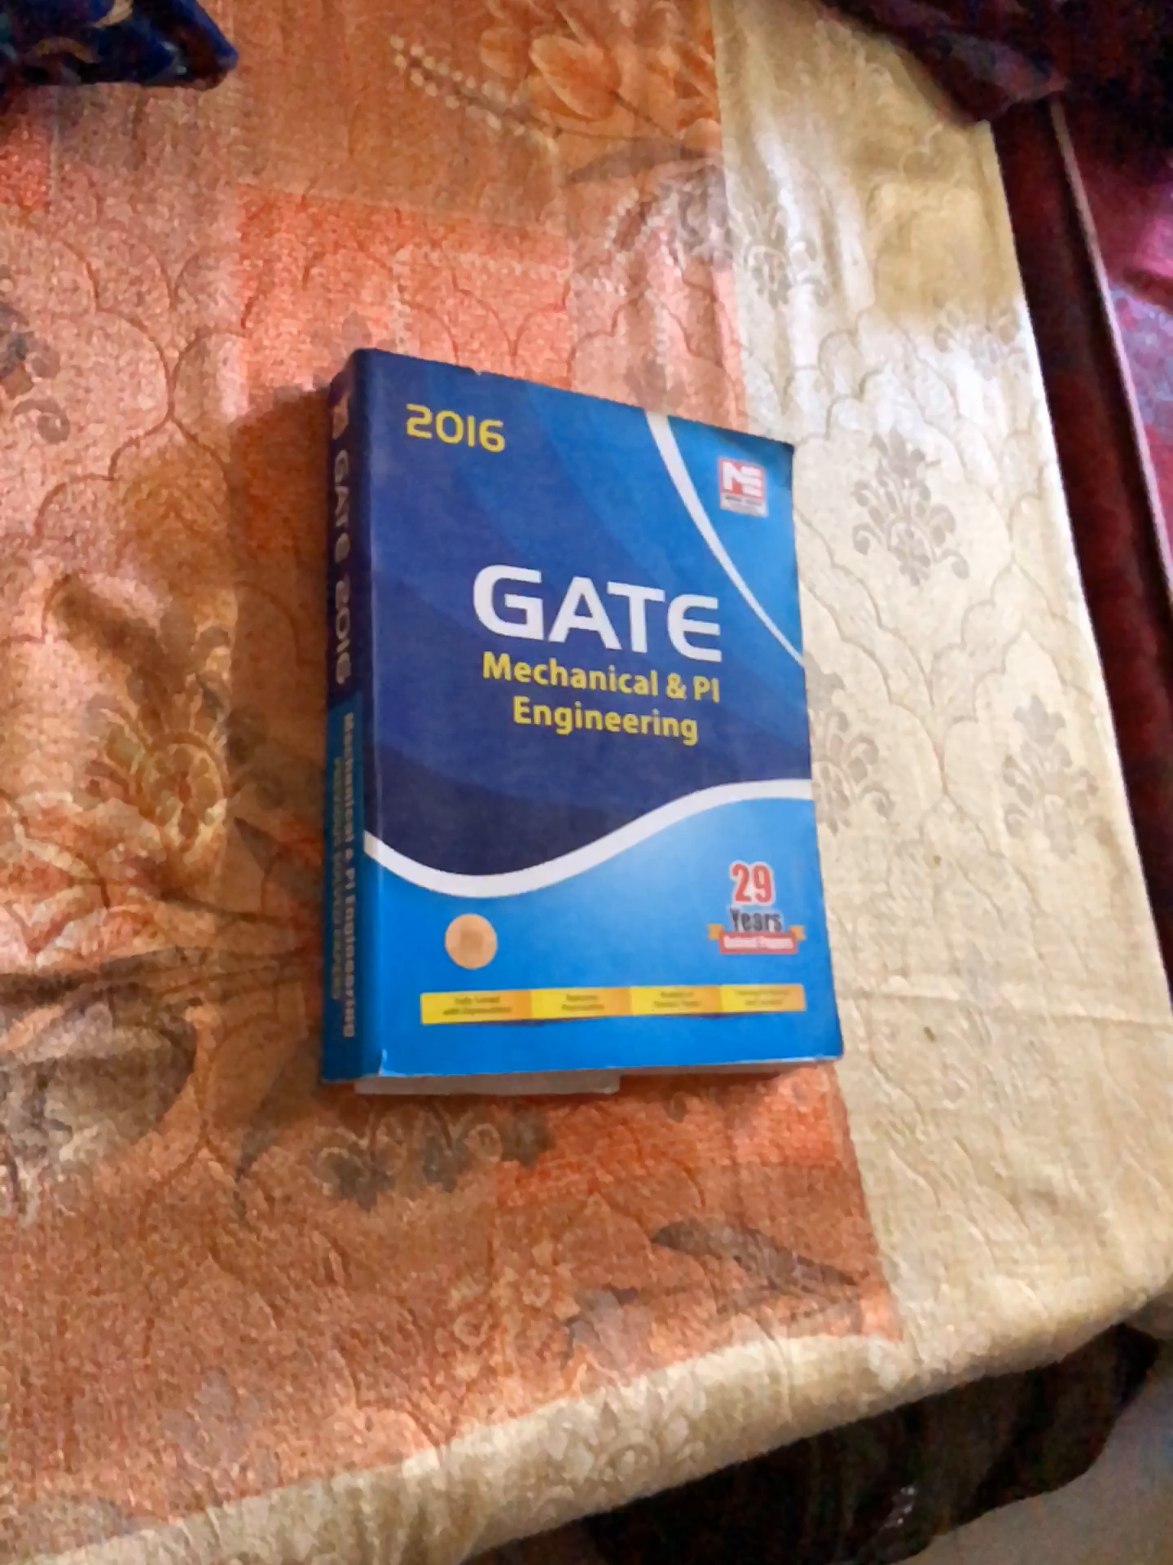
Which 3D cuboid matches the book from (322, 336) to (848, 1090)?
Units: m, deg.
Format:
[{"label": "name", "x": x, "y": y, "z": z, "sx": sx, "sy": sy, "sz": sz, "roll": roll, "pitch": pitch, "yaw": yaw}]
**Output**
[{"label": "book", "x": -0.002, "y": -0.023, "z": 0.535, "sx": 0.201, "sy": 0.051, "sz": 0.280, "roll": 4, "pitch": 74, "yaw": -27}]
